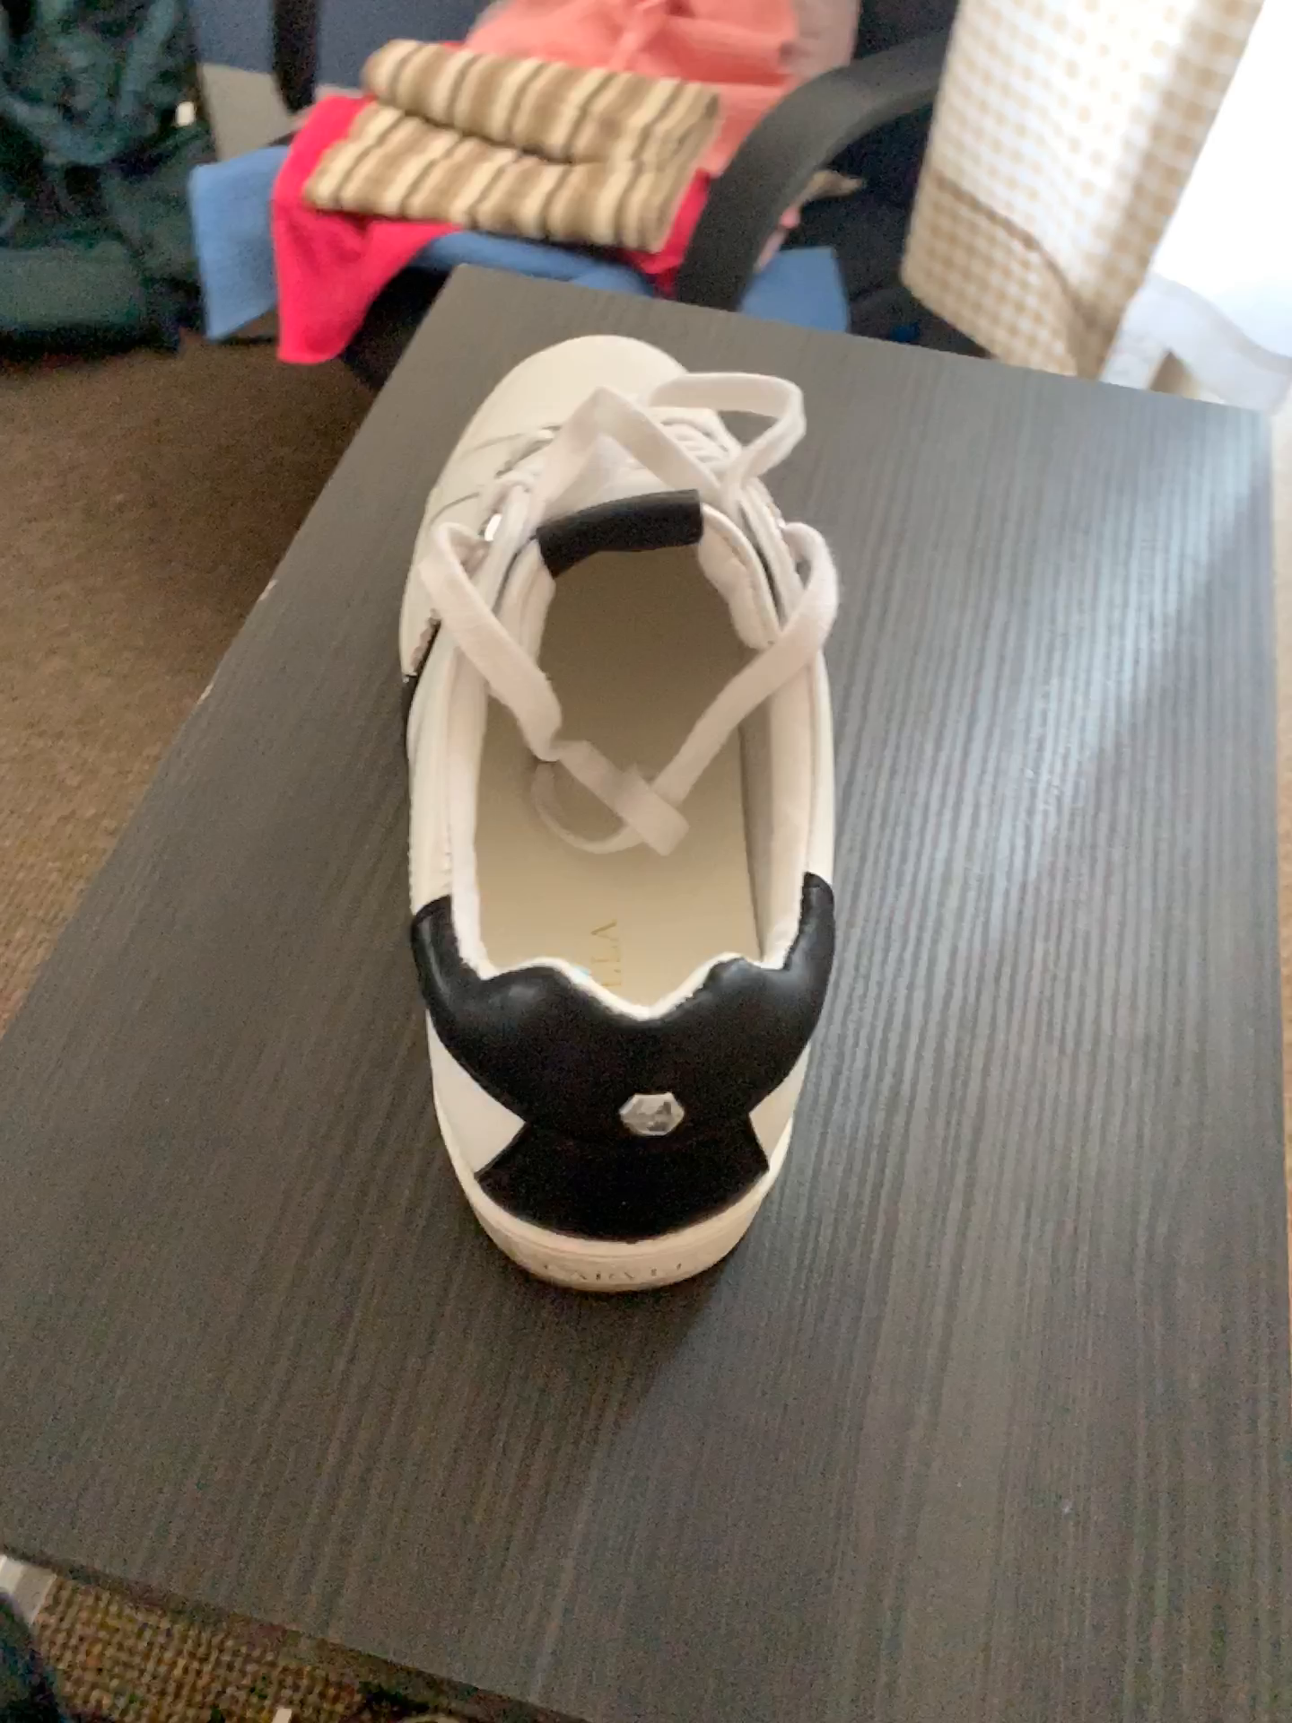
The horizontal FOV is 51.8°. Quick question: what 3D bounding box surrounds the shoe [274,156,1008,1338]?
[{"bbox_3d":[-0.014,-0.044,0.296,0.104,0.087,0.262,-4,56,-5],"label":"shoe"}]
